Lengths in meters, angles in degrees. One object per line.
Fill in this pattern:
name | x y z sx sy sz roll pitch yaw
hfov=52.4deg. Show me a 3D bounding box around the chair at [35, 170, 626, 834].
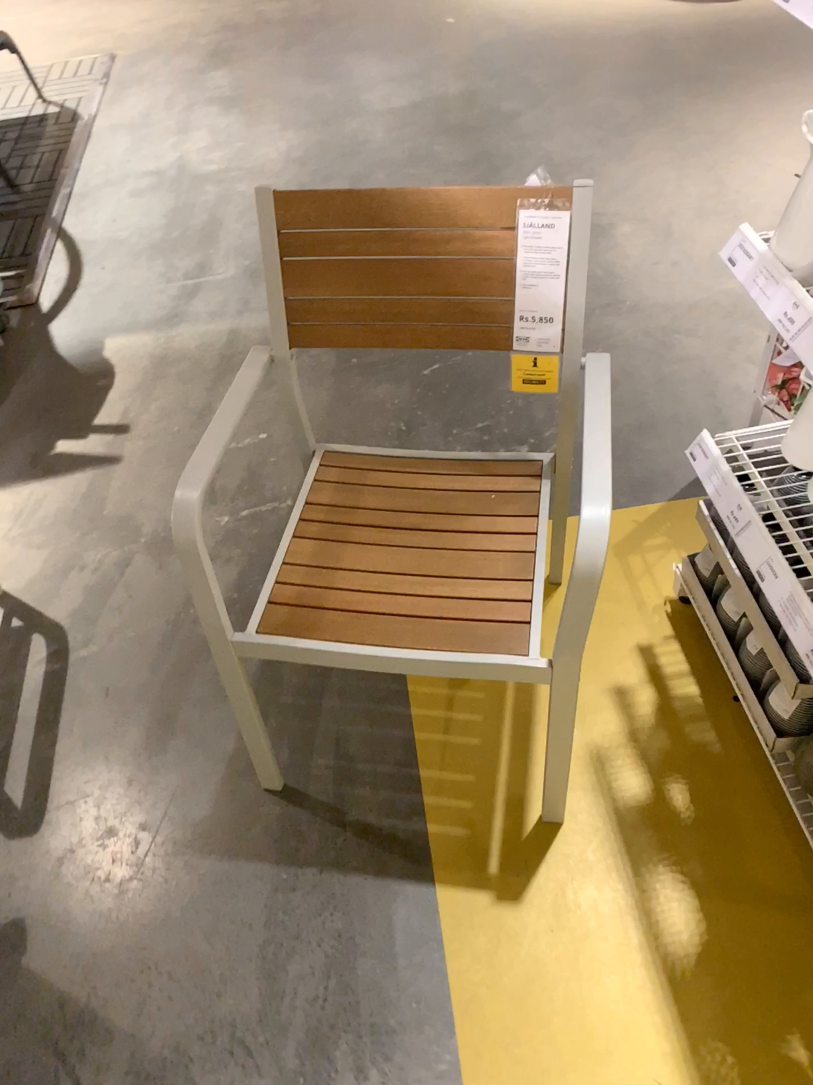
chair | -0.002 -0.047 1.223 0.560 0.727 0.602 4 49 11
